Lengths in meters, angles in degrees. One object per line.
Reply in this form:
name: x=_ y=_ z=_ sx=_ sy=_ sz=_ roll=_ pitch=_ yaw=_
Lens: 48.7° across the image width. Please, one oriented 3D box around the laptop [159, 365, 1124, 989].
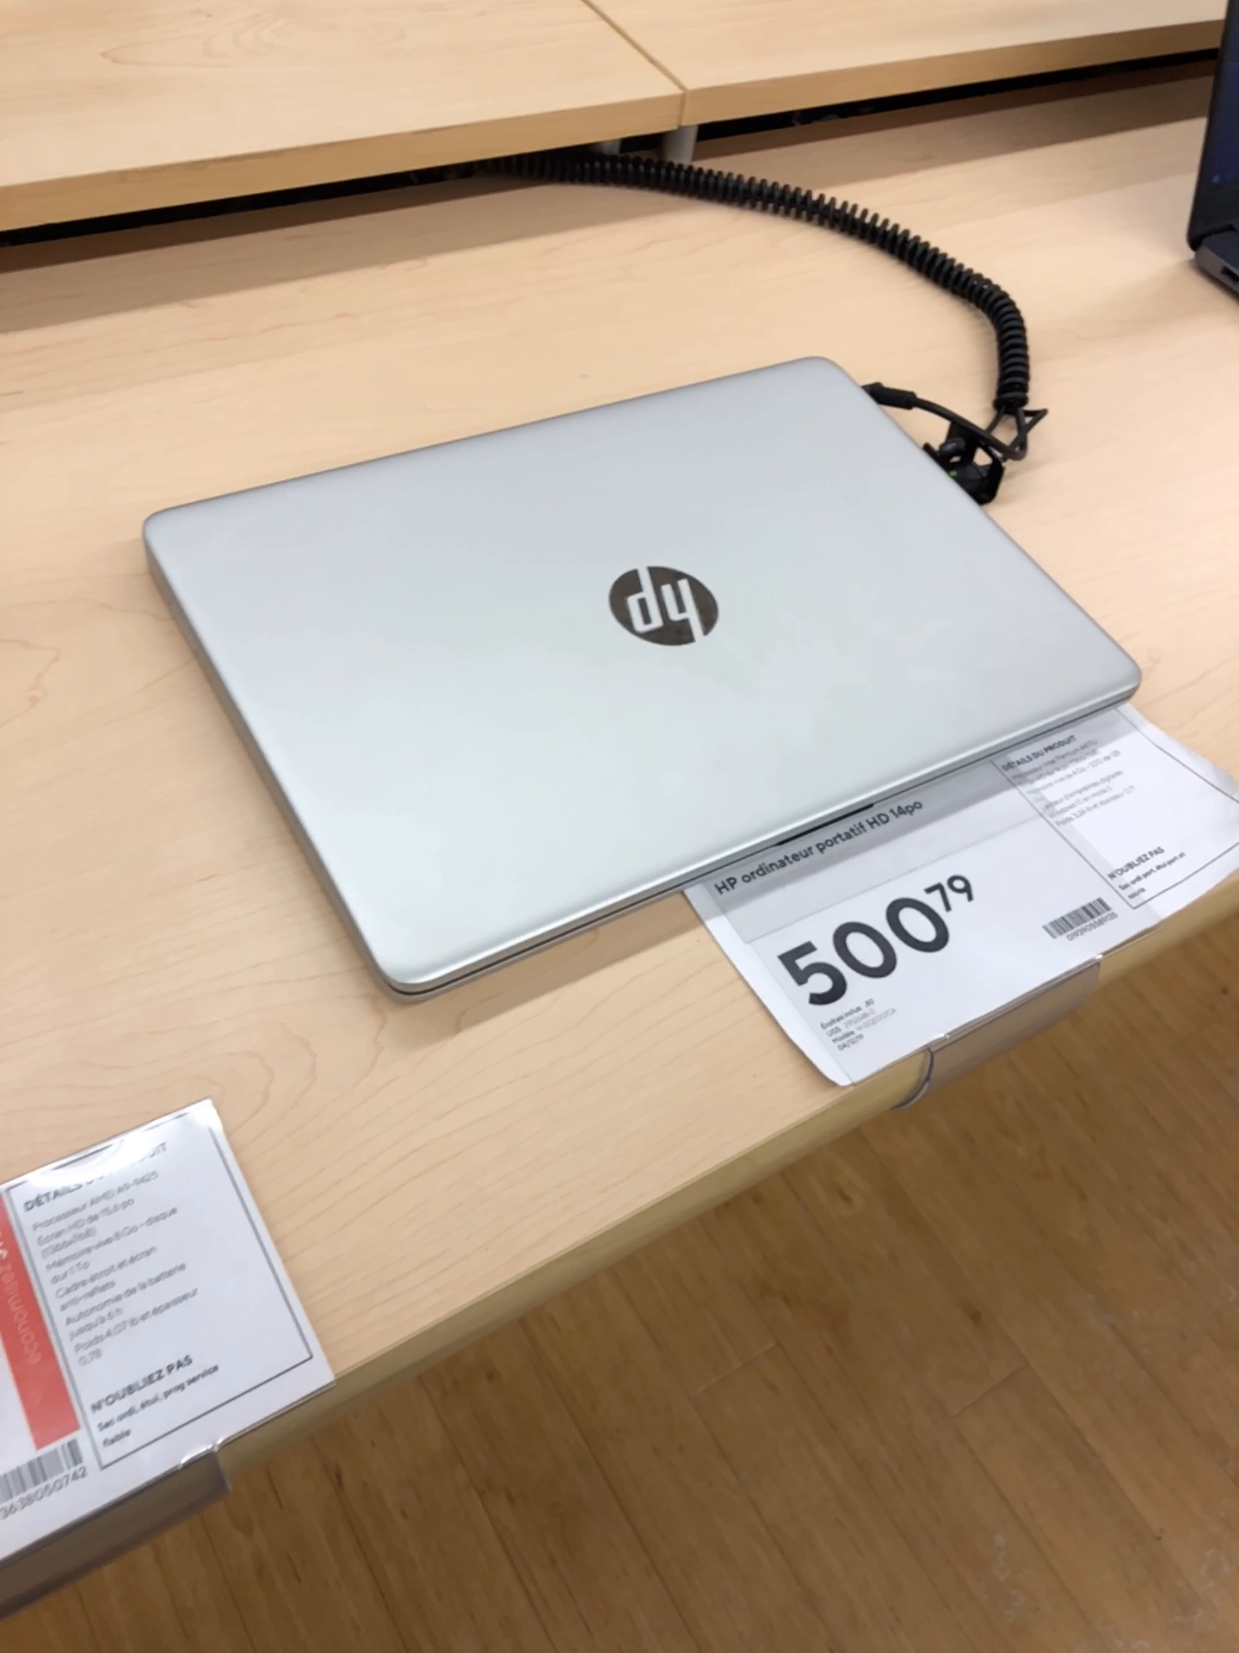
laptop: x=0.017 y=-0.082 z=0.510 sx=0.310 sy=0.004 sz=0.205 roll=-22 pitch=60 yaw=-27
